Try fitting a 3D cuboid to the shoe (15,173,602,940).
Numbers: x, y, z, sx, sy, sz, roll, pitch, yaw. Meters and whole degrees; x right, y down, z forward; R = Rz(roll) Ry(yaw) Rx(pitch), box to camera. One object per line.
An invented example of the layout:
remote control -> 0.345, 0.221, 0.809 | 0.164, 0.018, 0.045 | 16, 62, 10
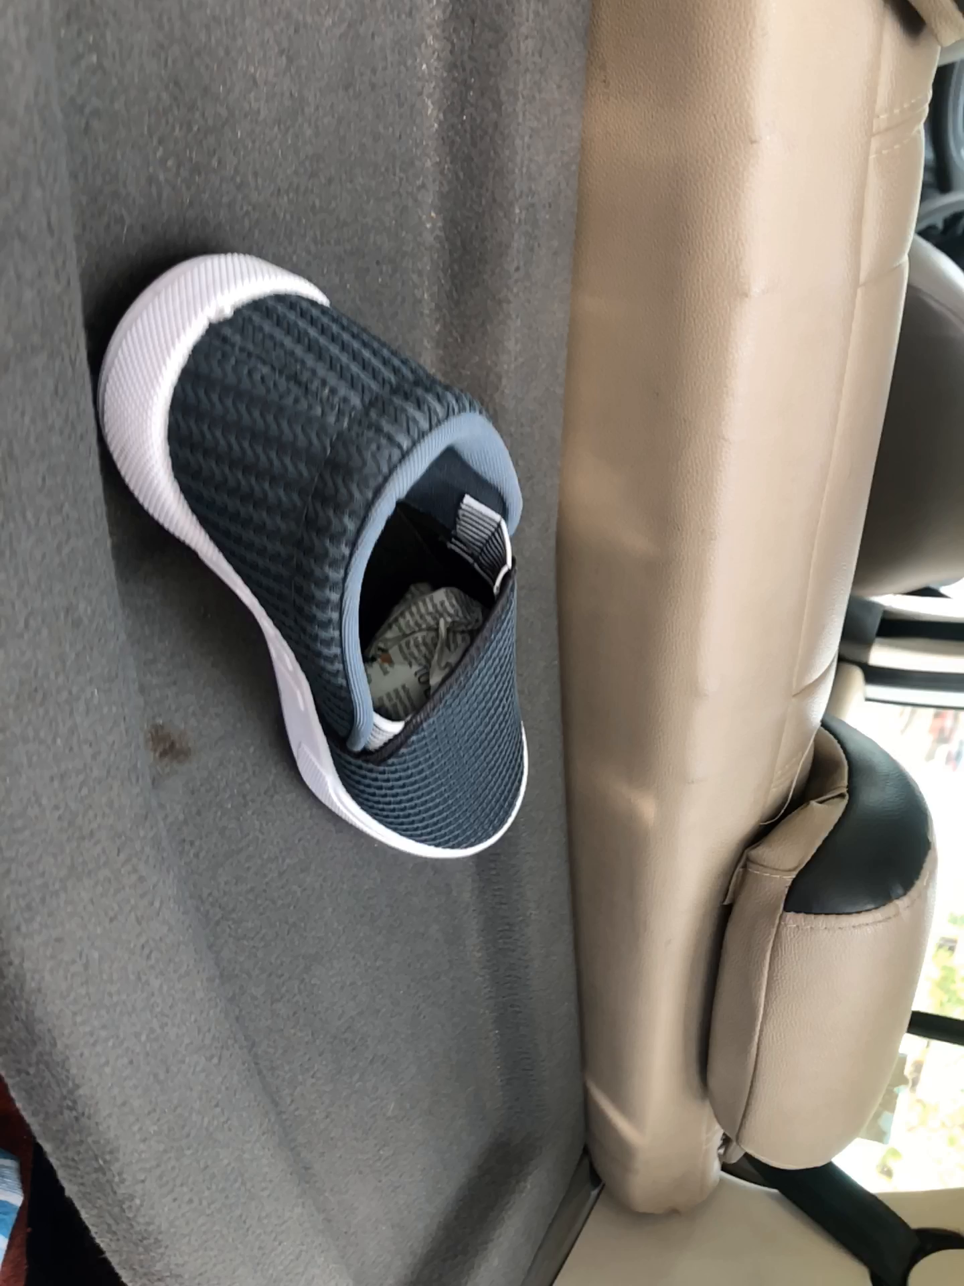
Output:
shoe -> -0.030, -0.005, 0.372 | 0.080, 0.089, 0.281 | -59, 151, -30
